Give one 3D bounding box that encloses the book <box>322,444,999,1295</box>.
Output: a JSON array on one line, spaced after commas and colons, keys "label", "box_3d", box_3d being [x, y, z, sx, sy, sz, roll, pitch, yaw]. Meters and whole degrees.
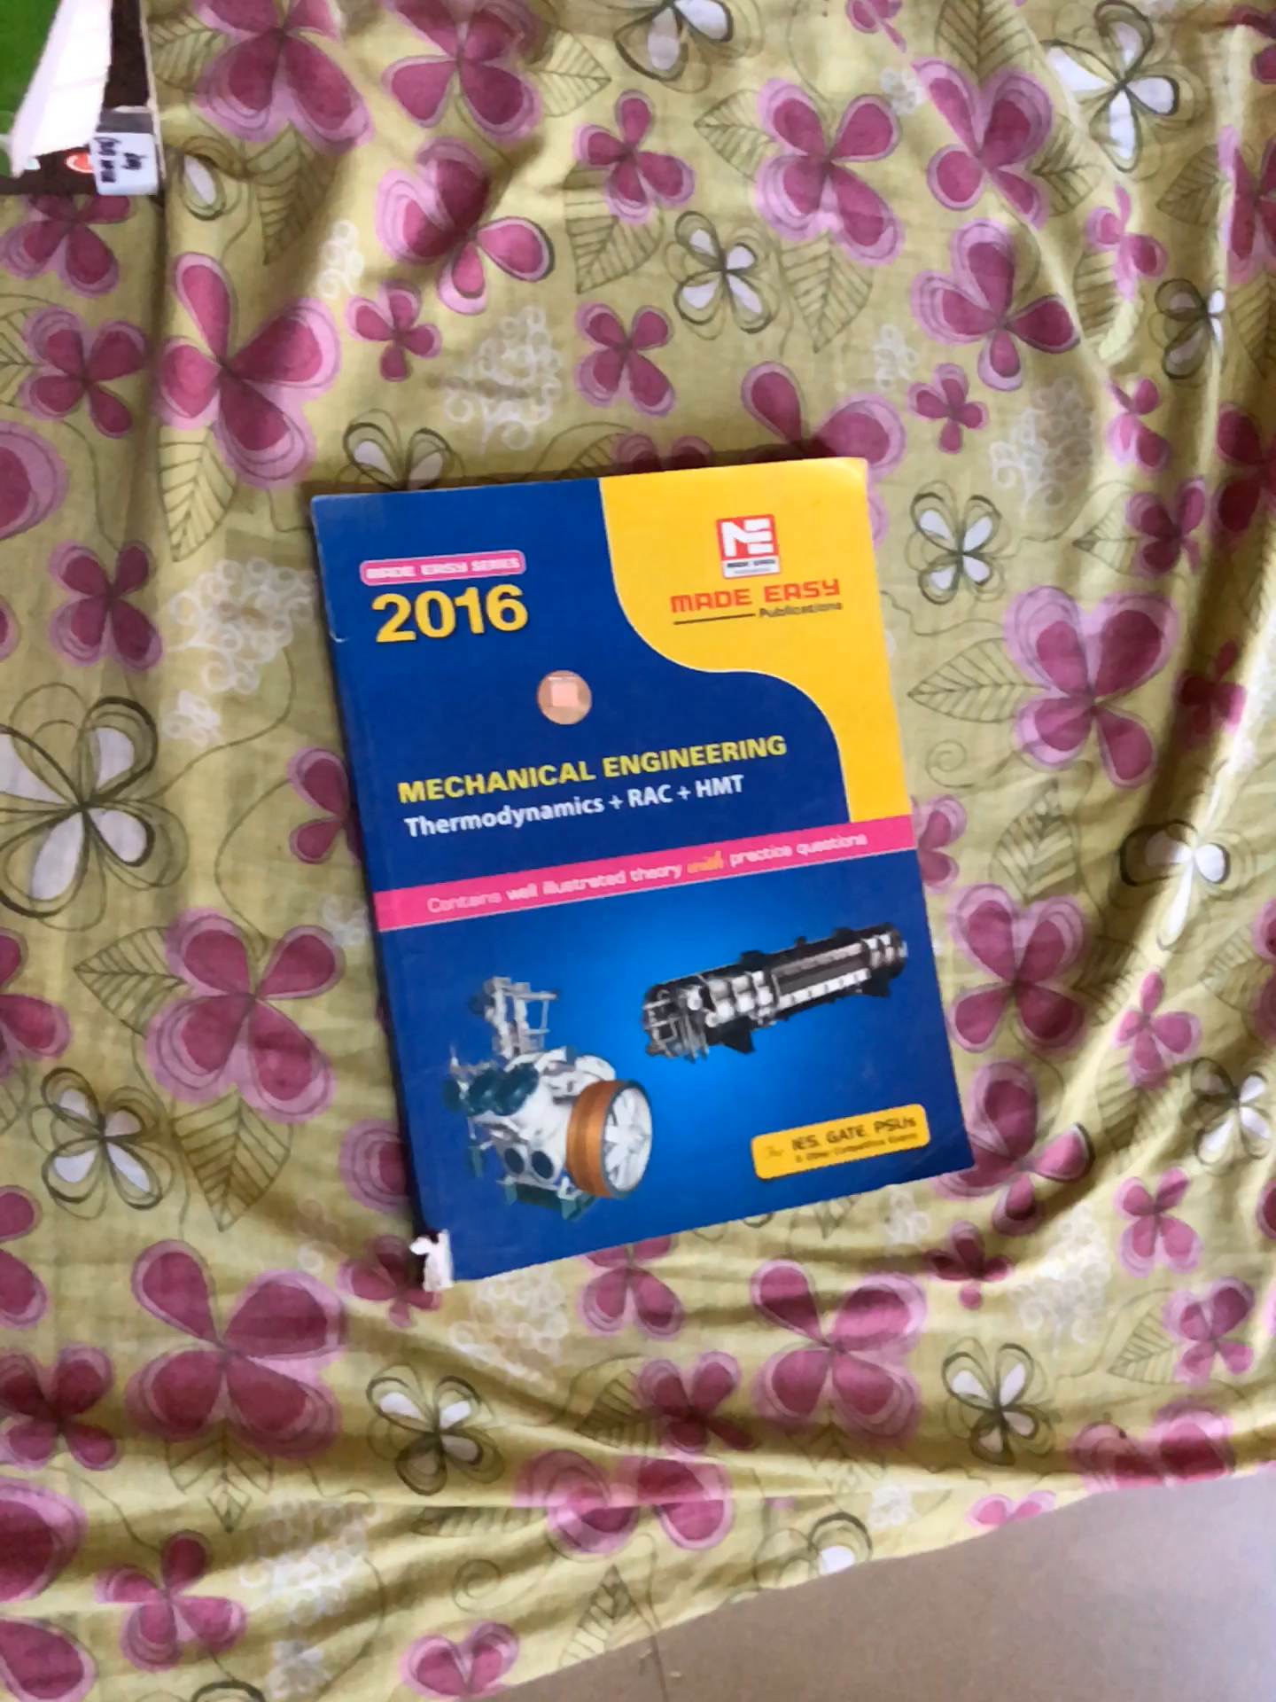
[{"label": "book", "box_3d": [0.009, 0.000, 0.506, 0.200, 0.030, 0.269, -9, 88, -12]}]
